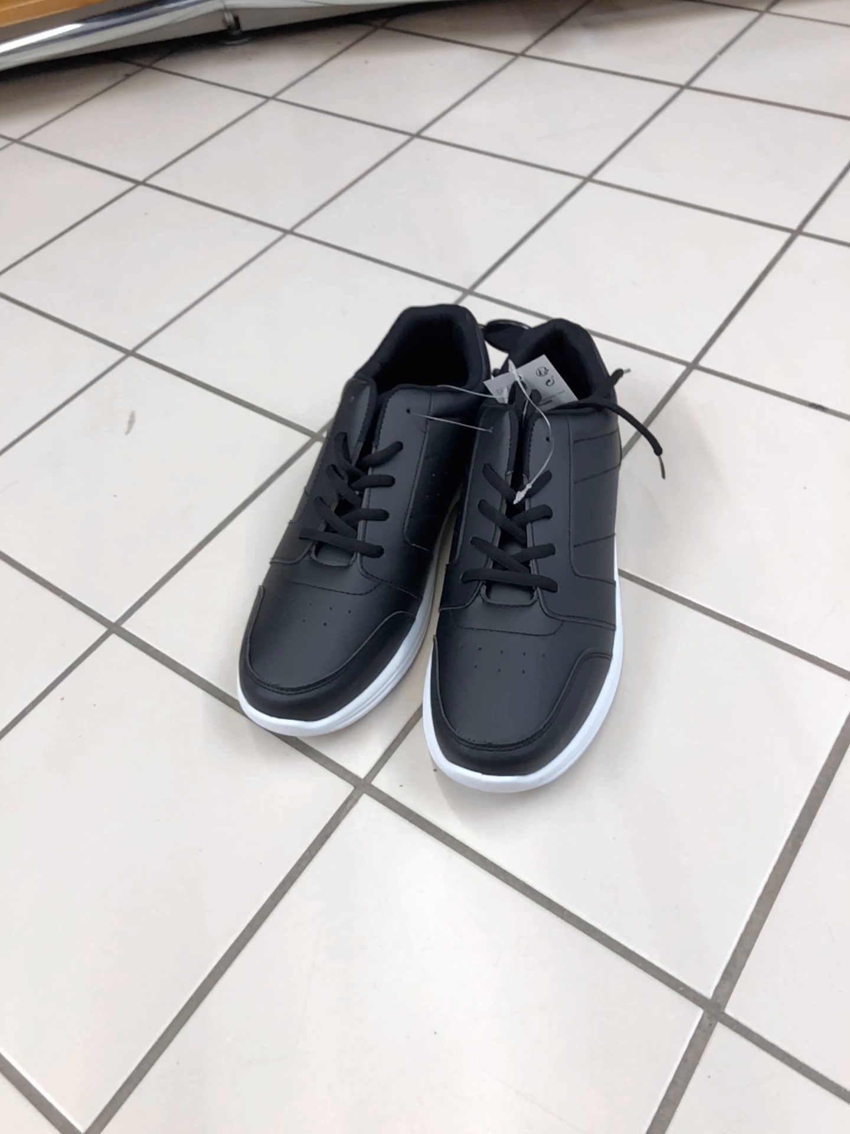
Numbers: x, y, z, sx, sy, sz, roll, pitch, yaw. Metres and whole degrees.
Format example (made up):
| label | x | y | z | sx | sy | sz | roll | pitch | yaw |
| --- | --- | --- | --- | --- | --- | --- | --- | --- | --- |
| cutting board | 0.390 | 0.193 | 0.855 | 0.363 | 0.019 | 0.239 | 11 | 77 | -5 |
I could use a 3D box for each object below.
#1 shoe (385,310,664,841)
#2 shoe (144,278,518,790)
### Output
| label | x | y | z | sx | sy | sz | roll | pitch | yaw |
| --- | --- | --- | --- | --- | --- | --- | --- | --- | --- |
| shoe | 0.071 | -0.010 | 0.548 | 0.110 | 0.119 | 0.292 | 6 | 51 | 12 |
| shoe | -0.033 | -0.035 | 0.567 | 0.110 | 0.119 | 0.292 | 10 | 53 | 15 |
